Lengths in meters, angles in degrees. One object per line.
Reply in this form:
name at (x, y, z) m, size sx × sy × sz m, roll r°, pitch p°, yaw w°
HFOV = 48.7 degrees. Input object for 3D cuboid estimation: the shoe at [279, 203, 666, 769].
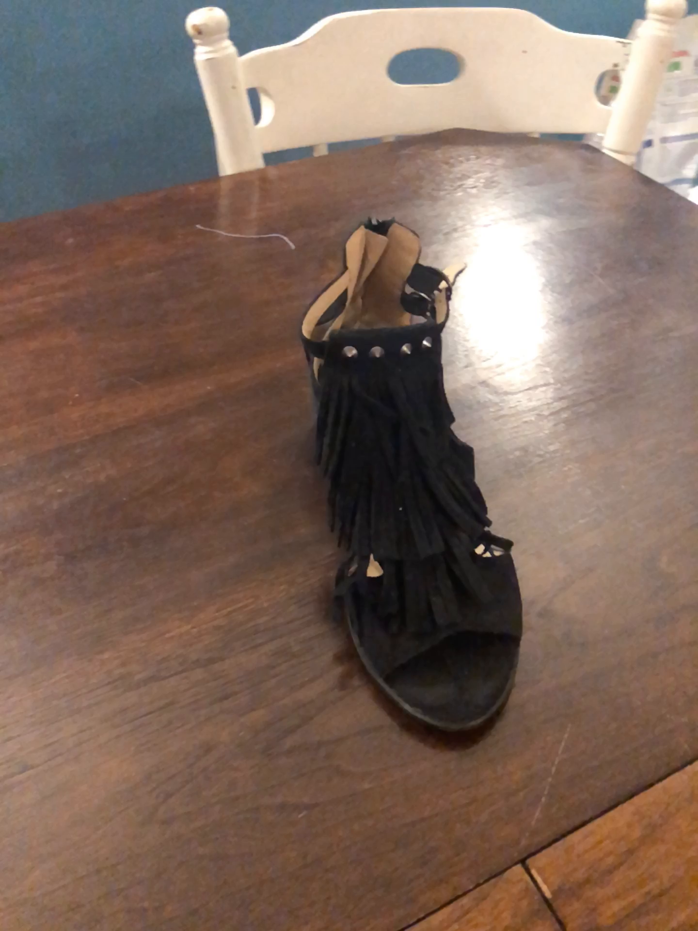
shoe at (0.035, -0.004, 0.393) m, size 0.100 × 0.150 × 0.241 m, roll -8°, pitch 45°, yaw -8°
